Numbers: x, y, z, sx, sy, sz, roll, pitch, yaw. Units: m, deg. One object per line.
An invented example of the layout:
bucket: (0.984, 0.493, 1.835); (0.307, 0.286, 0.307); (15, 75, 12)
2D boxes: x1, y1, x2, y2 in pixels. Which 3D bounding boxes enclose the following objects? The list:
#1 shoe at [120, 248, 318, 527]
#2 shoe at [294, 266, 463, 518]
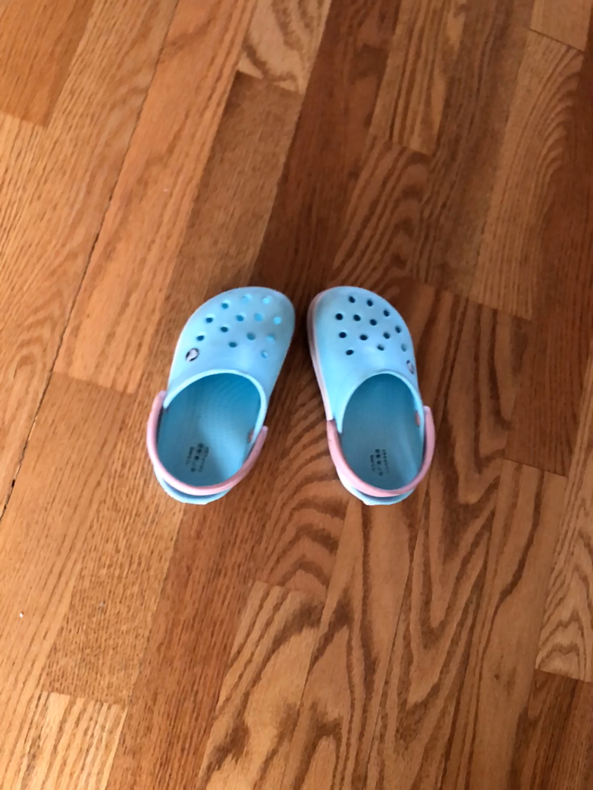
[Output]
shoe: (-0.052, -0.003, 0.450); (0.083, 0.057, 0.165); (18, 78, -9)
shoe: (0.056, -0.002, 0.470); (0.083, 0.048, 0.165); (-7, 83, -13)
